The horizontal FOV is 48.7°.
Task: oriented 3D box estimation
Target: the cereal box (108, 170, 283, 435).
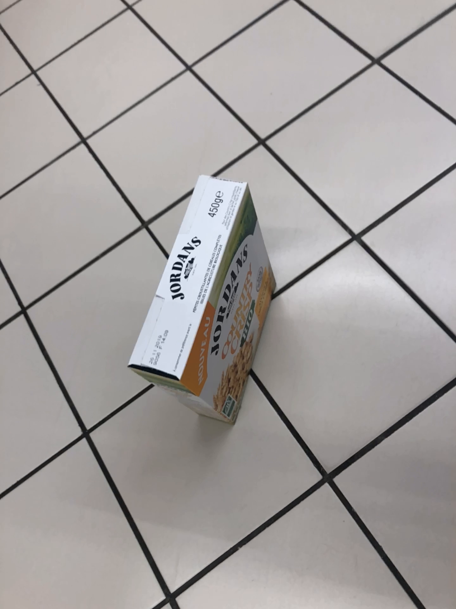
[{"bbox_3d":[-0.012,0.013,0.502,0.060,0.209,0.191,12,71,18],"label":"cereal box"}]
